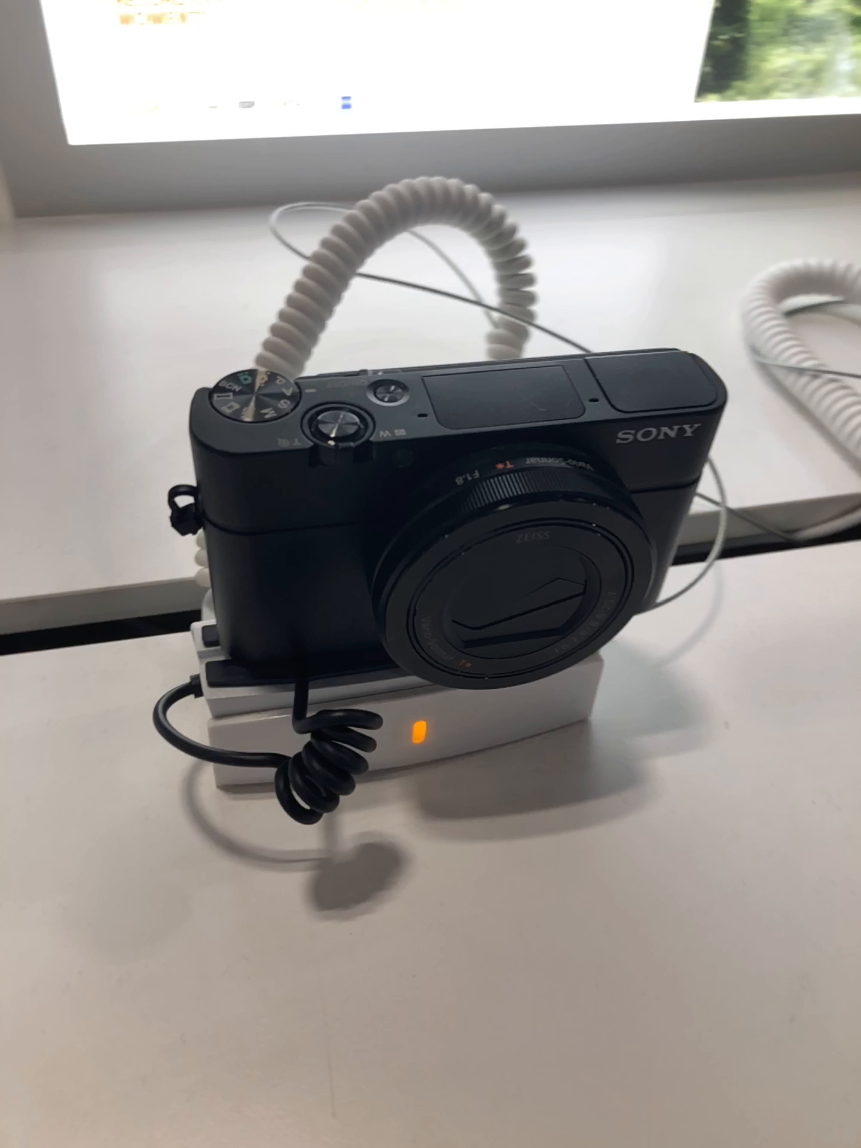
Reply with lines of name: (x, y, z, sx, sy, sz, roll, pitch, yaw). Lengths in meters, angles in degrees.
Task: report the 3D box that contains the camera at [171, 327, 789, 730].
camera: (0.007, -0.009, 0.200, 0.110, 0.070, 0.030, -6, 43, -10)
